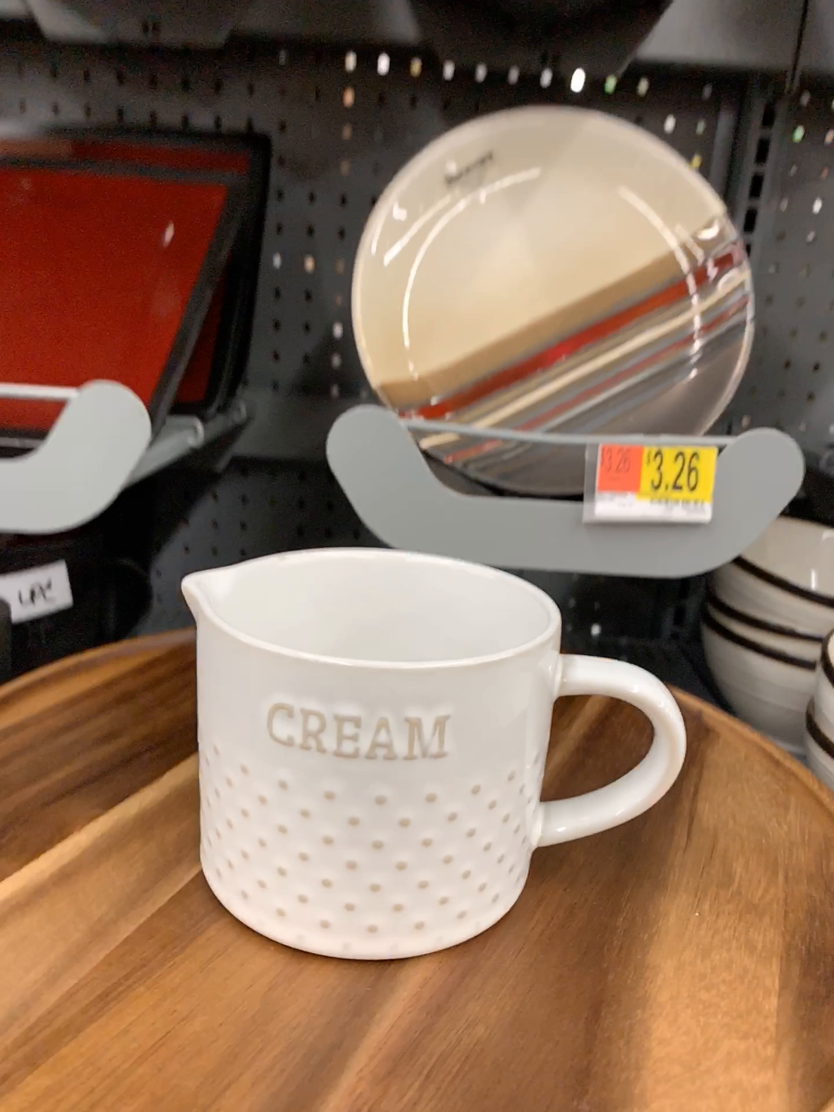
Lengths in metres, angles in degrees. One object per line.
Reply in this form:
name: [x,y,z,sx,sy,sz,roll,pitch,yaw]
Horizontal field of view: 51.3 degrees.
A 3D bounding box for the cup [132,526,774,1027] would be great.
cup: [0.008,0.055,0.262,0.150,0.090,0.100,6,17,5]
